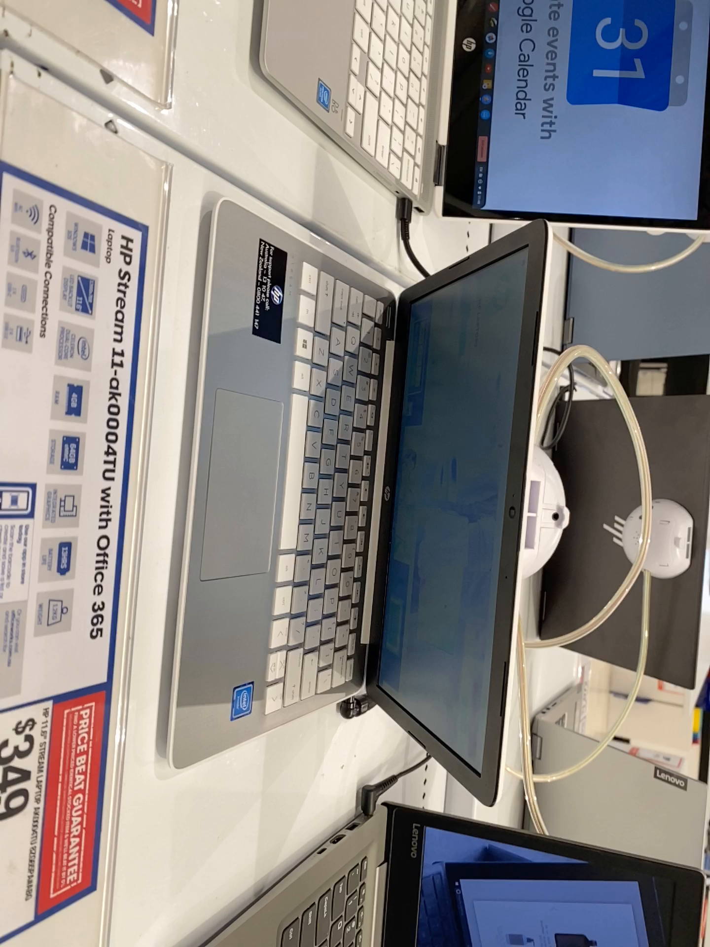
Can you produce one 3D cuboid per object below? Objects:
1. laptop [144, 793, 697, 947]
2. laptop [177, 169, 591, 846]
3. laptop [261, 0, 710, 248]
[{"bbox_3d":[0.062,0.426,0.433,0.277,0.211,0.326,2,92,-60],"label":"laptop"},{"bbox_3d":[0.029,0.011,0.409,0.182,0.138,0.276,6,88,-59],"label":"laptop"},{"bbox_3d":[0.116,-0.322,0.454,0.299,0.189,0.257,4,90,-61],"label":"laptop"}]
